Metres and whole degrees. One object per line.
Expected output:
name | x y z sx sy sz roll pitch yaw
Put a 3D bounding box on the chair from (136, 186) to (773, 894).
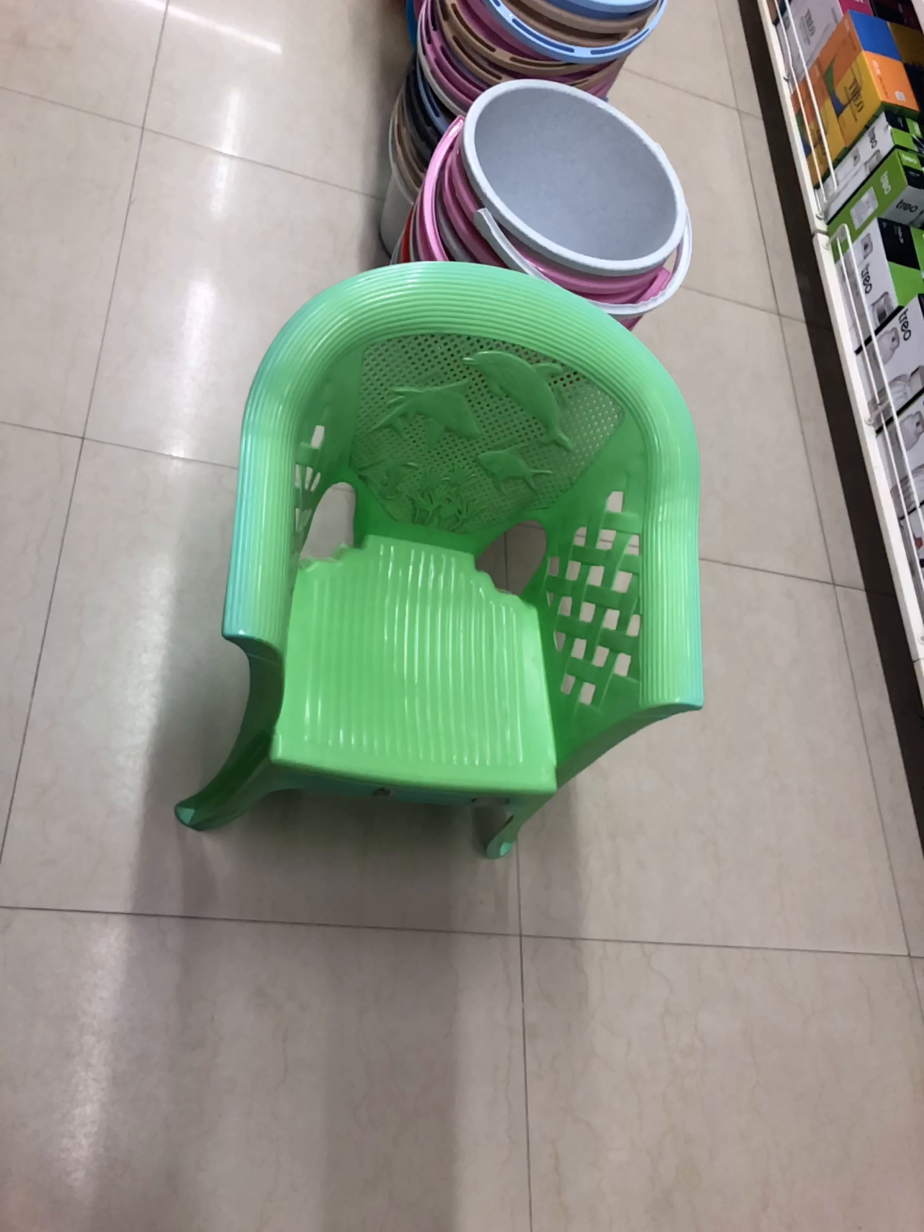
chair | -0.038 -0.029 0.972 0.430 0.398 0.472 10 61 -18
